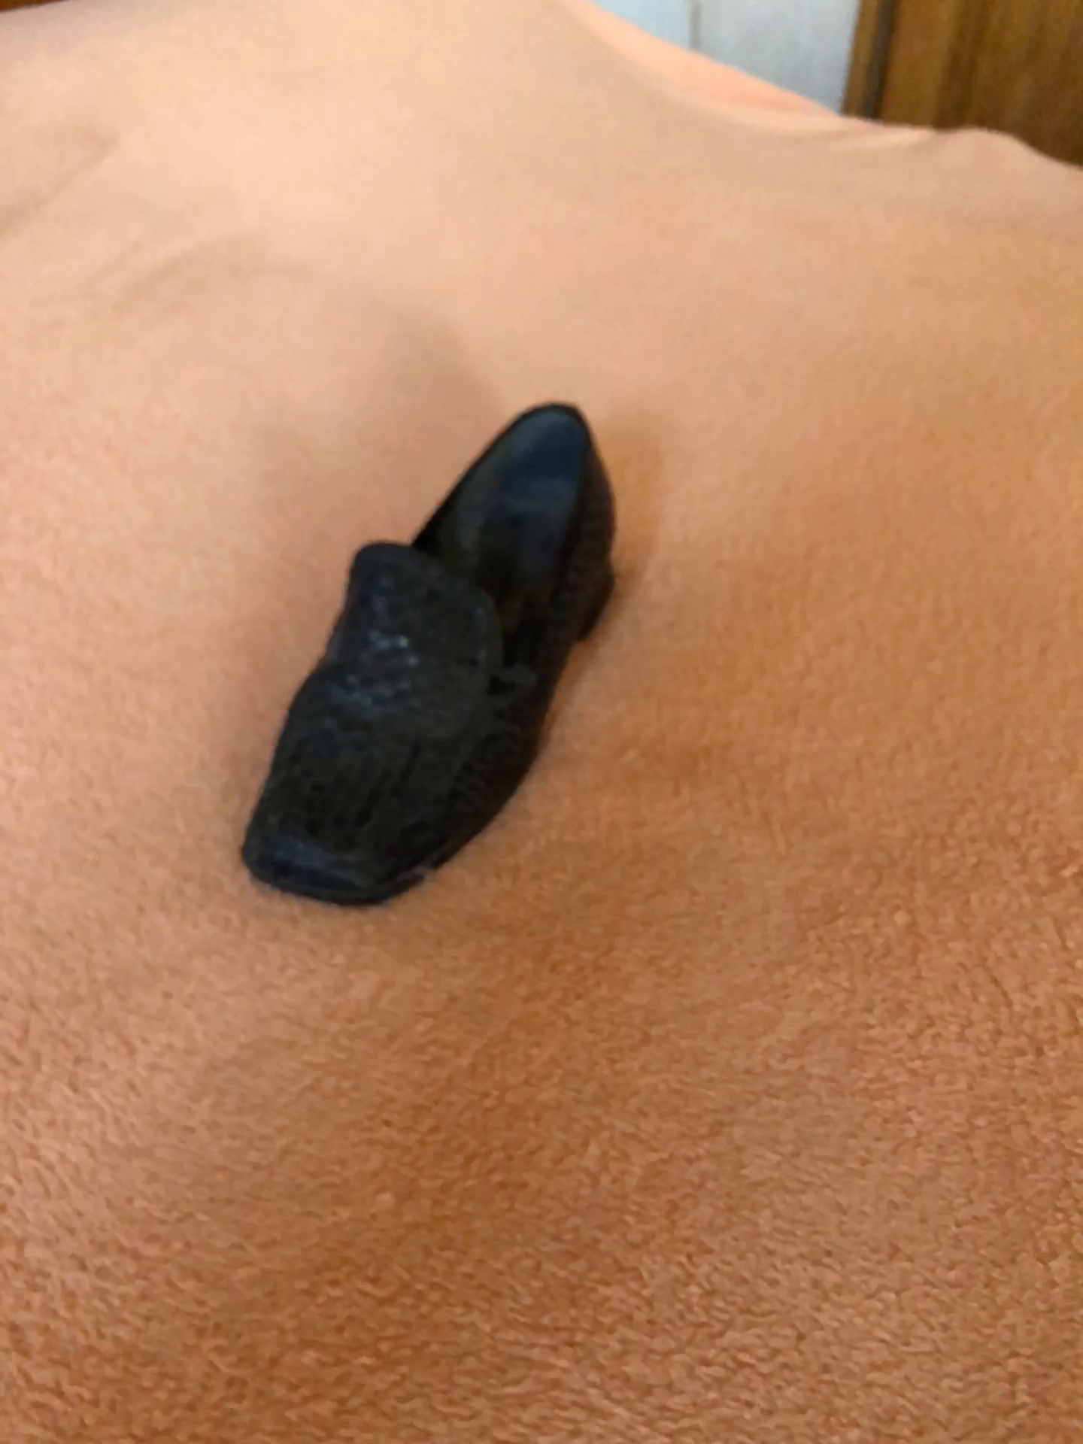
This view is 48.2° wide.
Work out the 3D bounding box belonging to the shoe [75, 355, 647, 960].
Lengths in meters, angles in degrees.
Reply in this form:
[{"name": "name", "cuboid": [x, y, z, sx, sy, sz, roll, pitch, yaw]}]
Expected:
[{"name": "shoe", "cuboid": [-0.049, -0.047, 0.491, 0.100, 0.089, 0.272, 14, 42, 17]}]
